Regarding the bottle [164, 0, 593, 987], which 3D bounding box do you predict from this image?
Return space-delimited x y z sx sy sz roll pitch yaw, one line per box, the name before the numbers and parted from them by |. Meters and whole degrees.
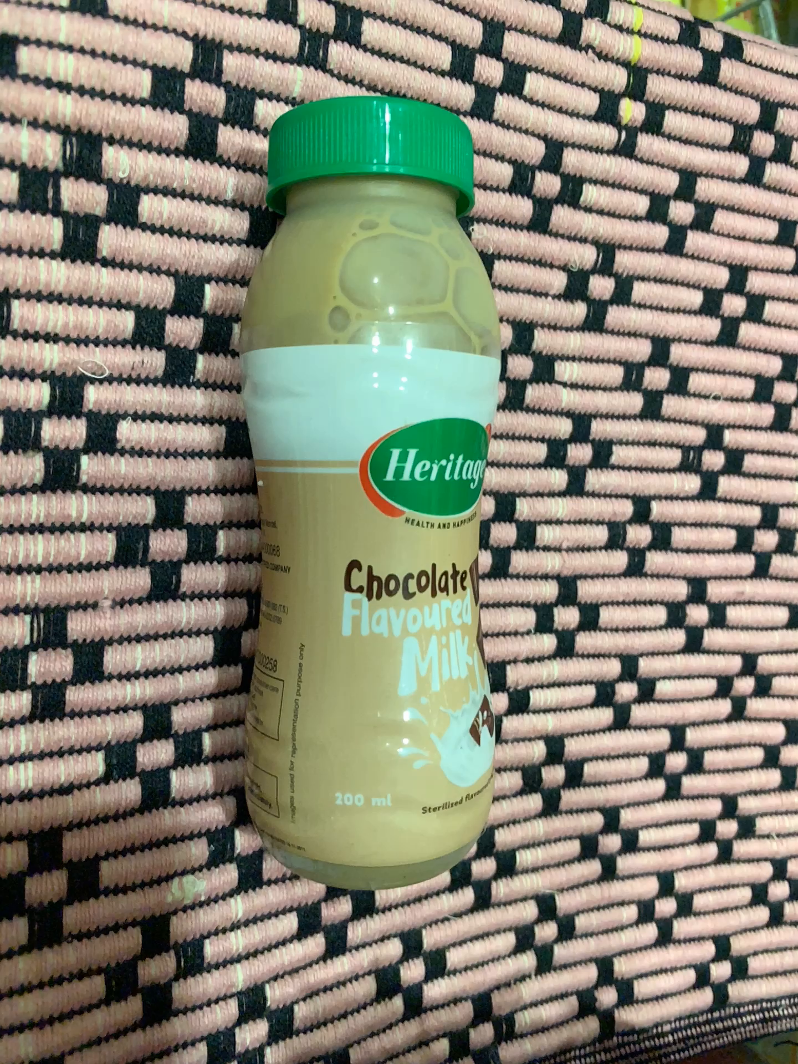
bottle | -0.004 -0.010 0.144 0.050 0.050 0.140 -3 93 -40
